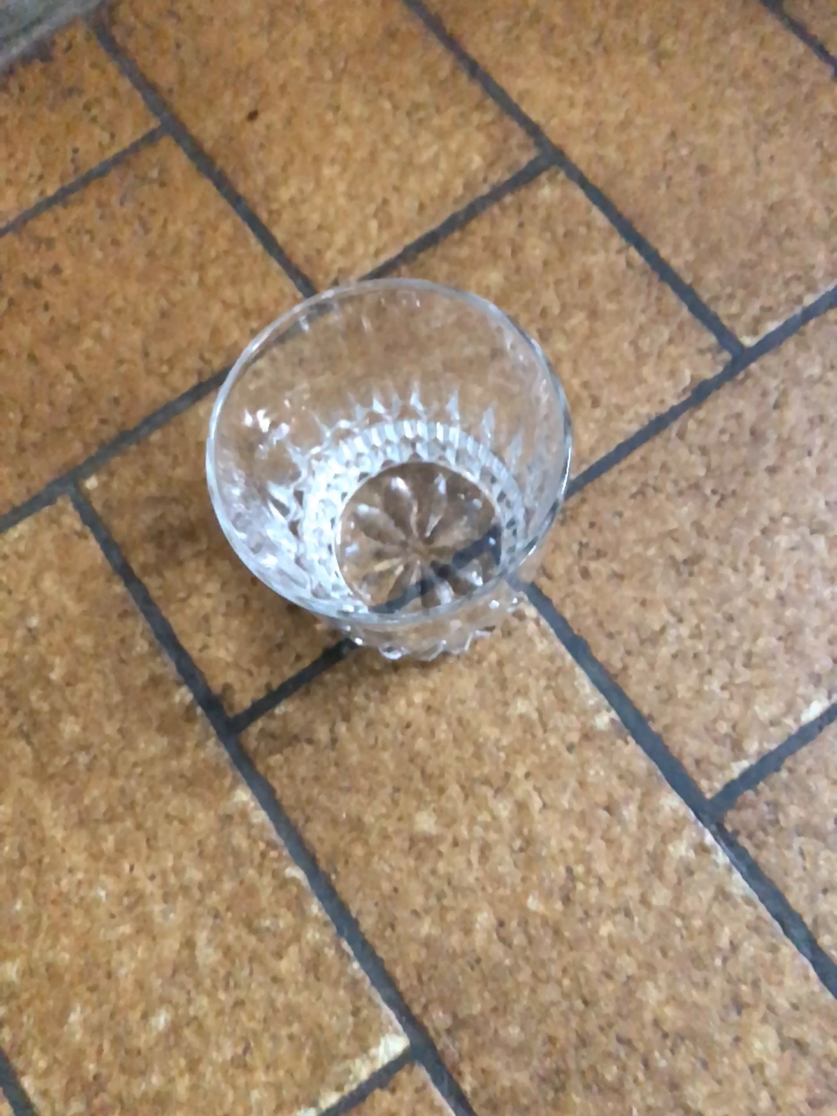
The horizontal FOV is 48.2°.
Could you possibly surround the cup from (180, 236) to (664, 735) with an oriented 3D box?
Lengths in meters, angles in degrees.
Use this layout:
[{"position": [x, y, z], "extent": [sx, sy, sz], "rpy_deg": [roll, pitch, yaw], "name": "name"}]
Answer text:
[{"position": [0.002, -0.010, 0.238], "extent": [0.080, 0.090, 0.080], "rpy_deg": [-1, 75, 4], "name": "cup"}]
